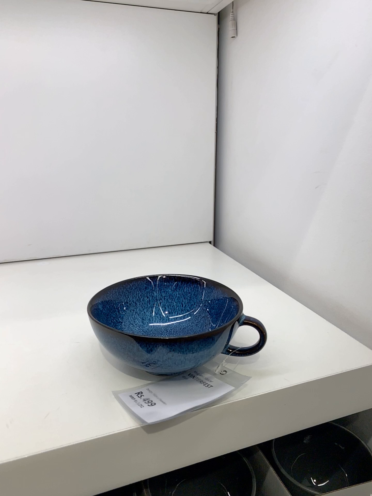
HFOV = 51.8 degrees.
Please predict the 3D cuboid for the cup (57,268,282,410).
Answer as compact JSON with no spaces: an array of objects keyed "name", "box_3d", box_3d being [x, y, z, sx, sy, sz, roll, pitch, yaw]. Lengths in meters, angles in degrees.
[{"name":"cup","box_3d":[-0.004,0.067,0.334,0.160,0.050,0.130,3,16,10]}]
